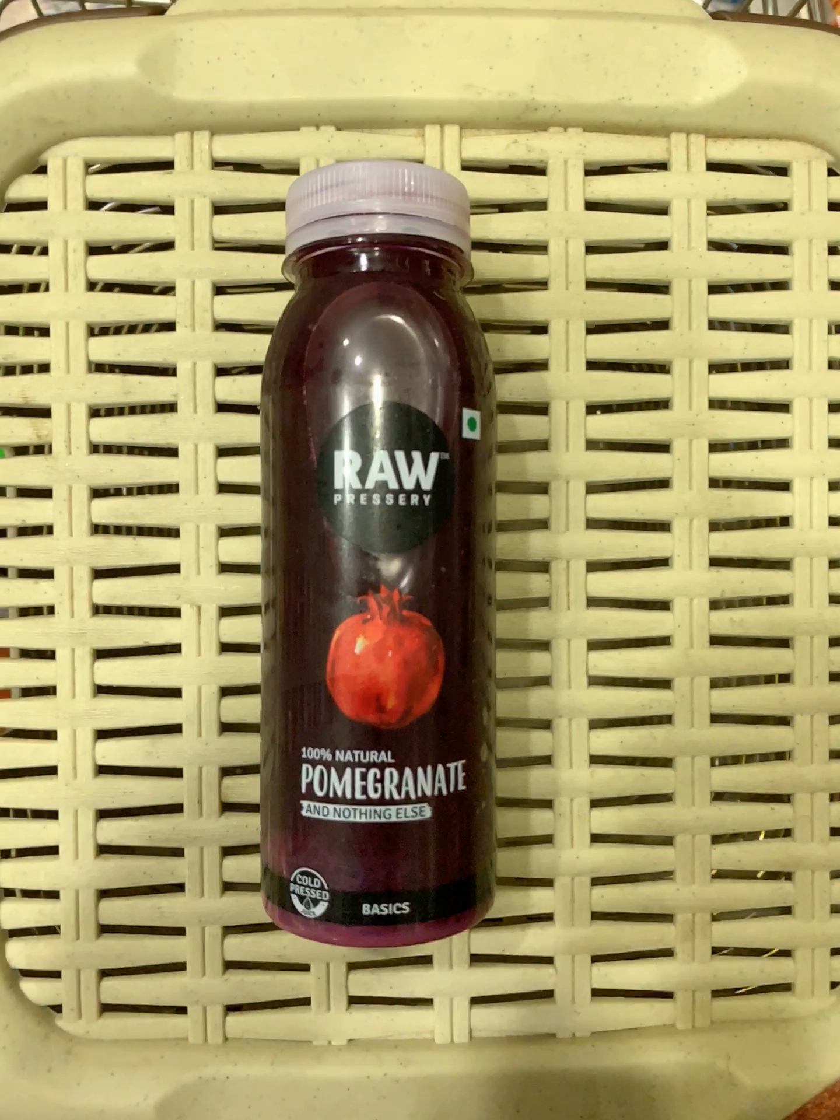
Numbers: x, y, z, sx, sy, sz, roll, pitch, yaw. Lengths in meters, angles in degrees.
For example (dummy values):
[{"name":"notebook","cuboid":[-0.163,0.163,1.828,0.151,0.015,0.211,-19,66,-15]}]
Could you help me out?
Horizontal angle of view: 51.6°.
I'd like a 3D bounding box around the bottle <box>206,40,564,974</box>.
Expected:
[{"name":"bottle","cuboid":[-0.008,-0.008,0.176,0.060,0.050,0.160,1,92,-4]}]
